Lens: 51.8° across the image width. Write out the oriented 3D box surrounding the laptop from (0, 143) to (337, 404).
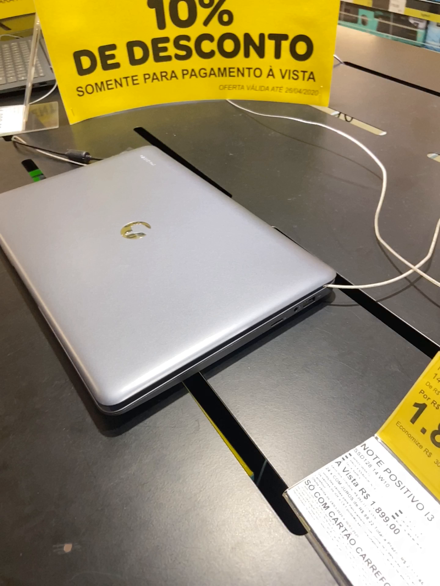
[{"bbox_3d":[-0.084,-0.060,0.443,0.213,0.001,0.330,-28,48,-23],"label":"laptop"}]
